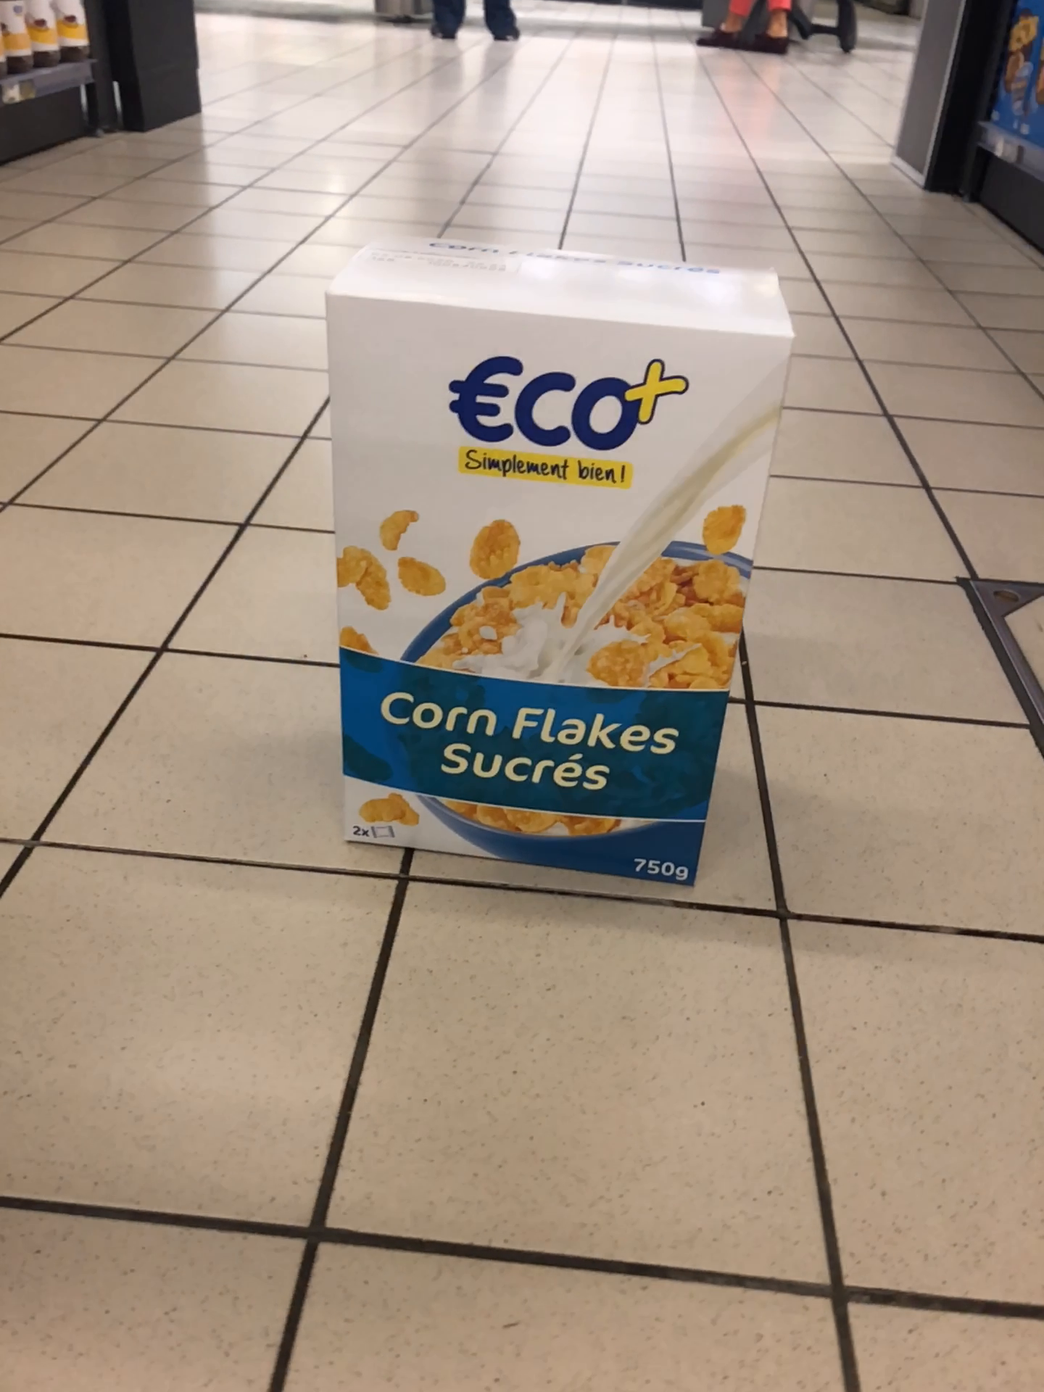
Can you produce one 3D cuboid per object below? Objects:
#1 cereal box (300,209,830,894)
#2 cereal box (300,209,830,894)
[{"bbox_3d":[0.014,-0.069,0.584,0.210,0.298,0.131,6,31,4],"label":"cereal box"},{"bbox_3d":[0.014,-0.069,0.584,0.210,0.298,0.131,6,31,4],"label":"cereal box"}]
